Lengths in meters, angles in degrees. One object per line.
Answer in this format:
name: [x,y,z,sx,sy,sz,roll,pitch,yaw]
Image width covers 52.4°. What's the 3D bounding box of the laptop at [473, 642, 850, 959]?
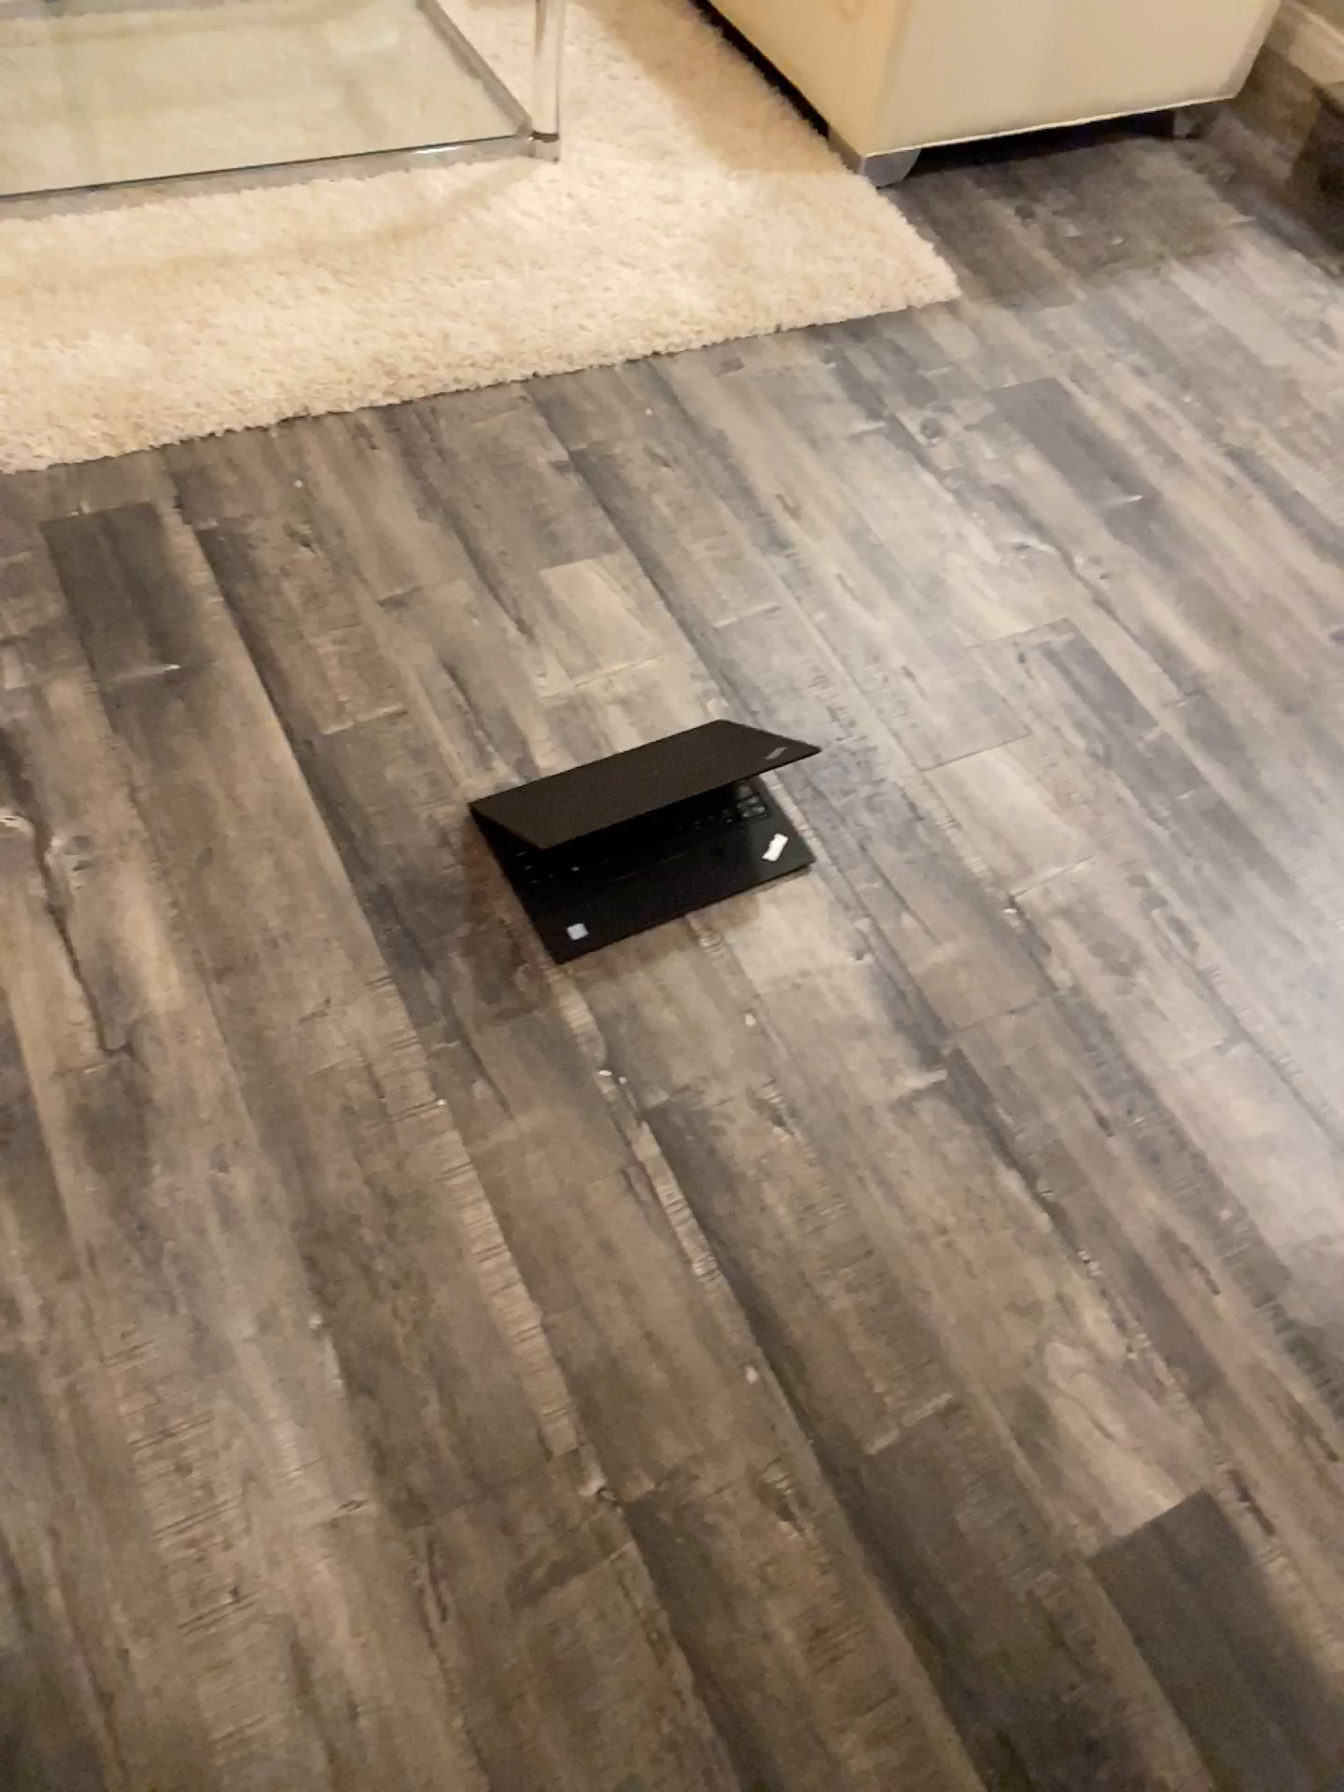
laptop: [-0.016,-0.107,1.429,0.315,0.124,0.219,-21,61,-22]
